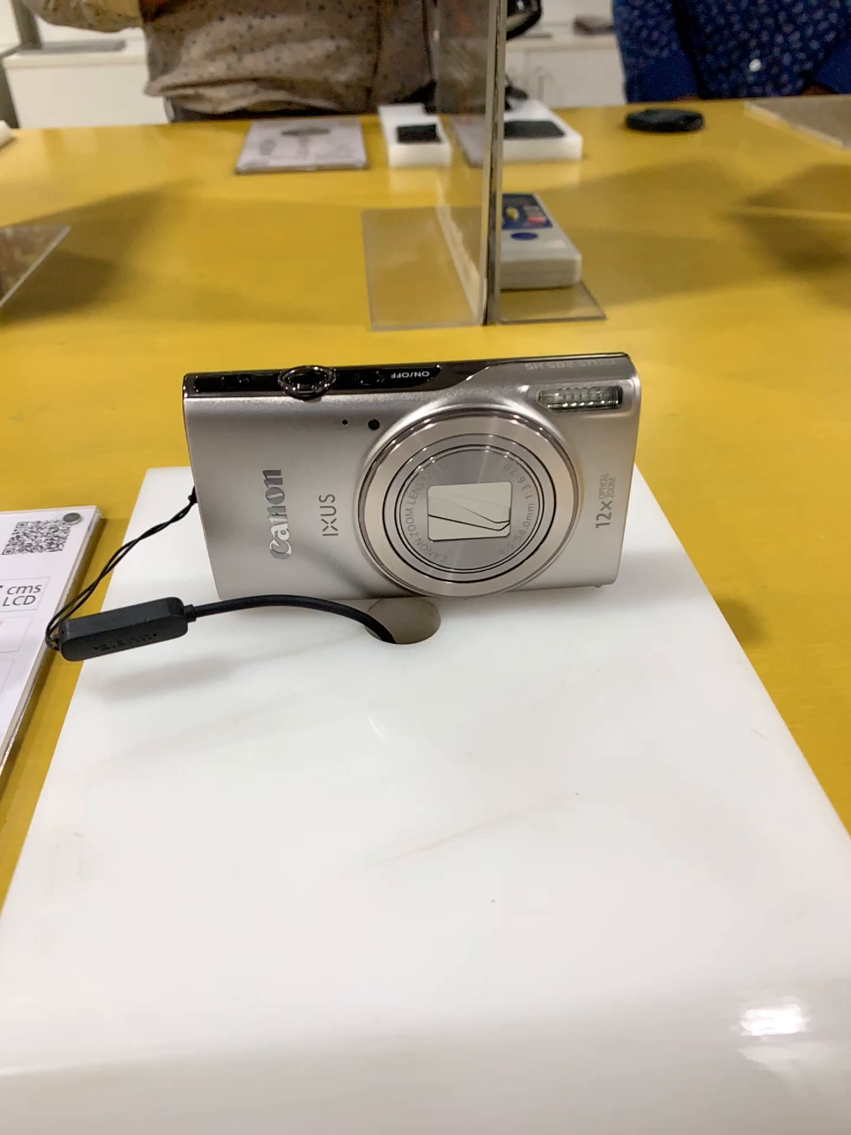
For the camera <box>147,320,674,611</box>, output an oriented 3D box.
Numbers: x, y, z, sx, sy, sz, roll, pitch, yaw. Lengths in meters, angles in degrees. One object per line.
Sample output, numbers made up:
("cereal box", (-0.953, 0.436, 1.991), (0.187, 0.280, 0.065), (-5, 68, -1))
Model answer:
("camera", (-0.003, -0.022, 0.194), (0.100, 0.050, 0.030), (-3, 36, -2))
